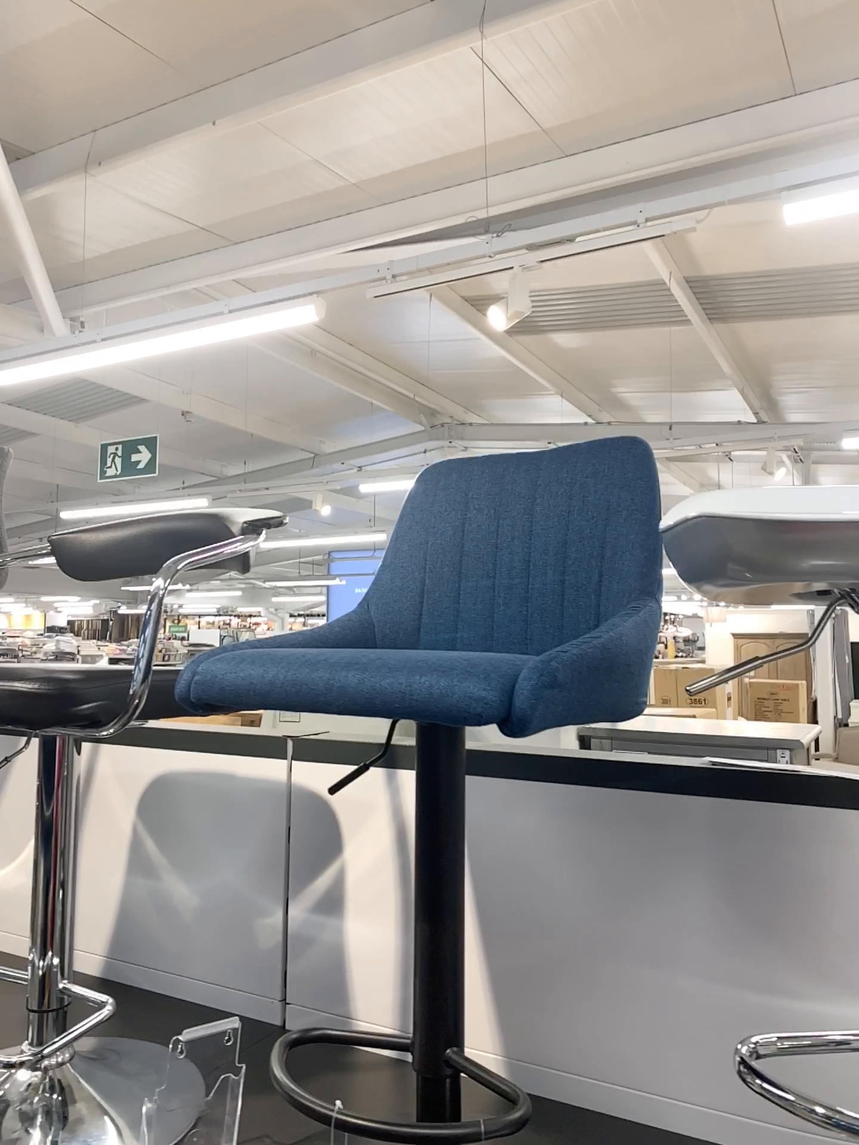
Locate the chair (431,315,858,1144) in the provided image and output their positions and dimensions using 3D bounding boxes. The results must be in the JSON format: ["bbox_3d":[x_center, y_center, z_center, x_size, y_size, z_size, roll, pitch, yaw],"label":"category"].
[{"bbox_3d":[0.277,0.260,0.705,0.409,0.764,0.387,-2,-7,28],"label":"chair"}]

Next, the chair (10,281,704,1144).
[{"bbox_3d":[-0.034,0.240,0.971,0.539,0.874,0.506,-2,-6,28],"label":"chair"}]
